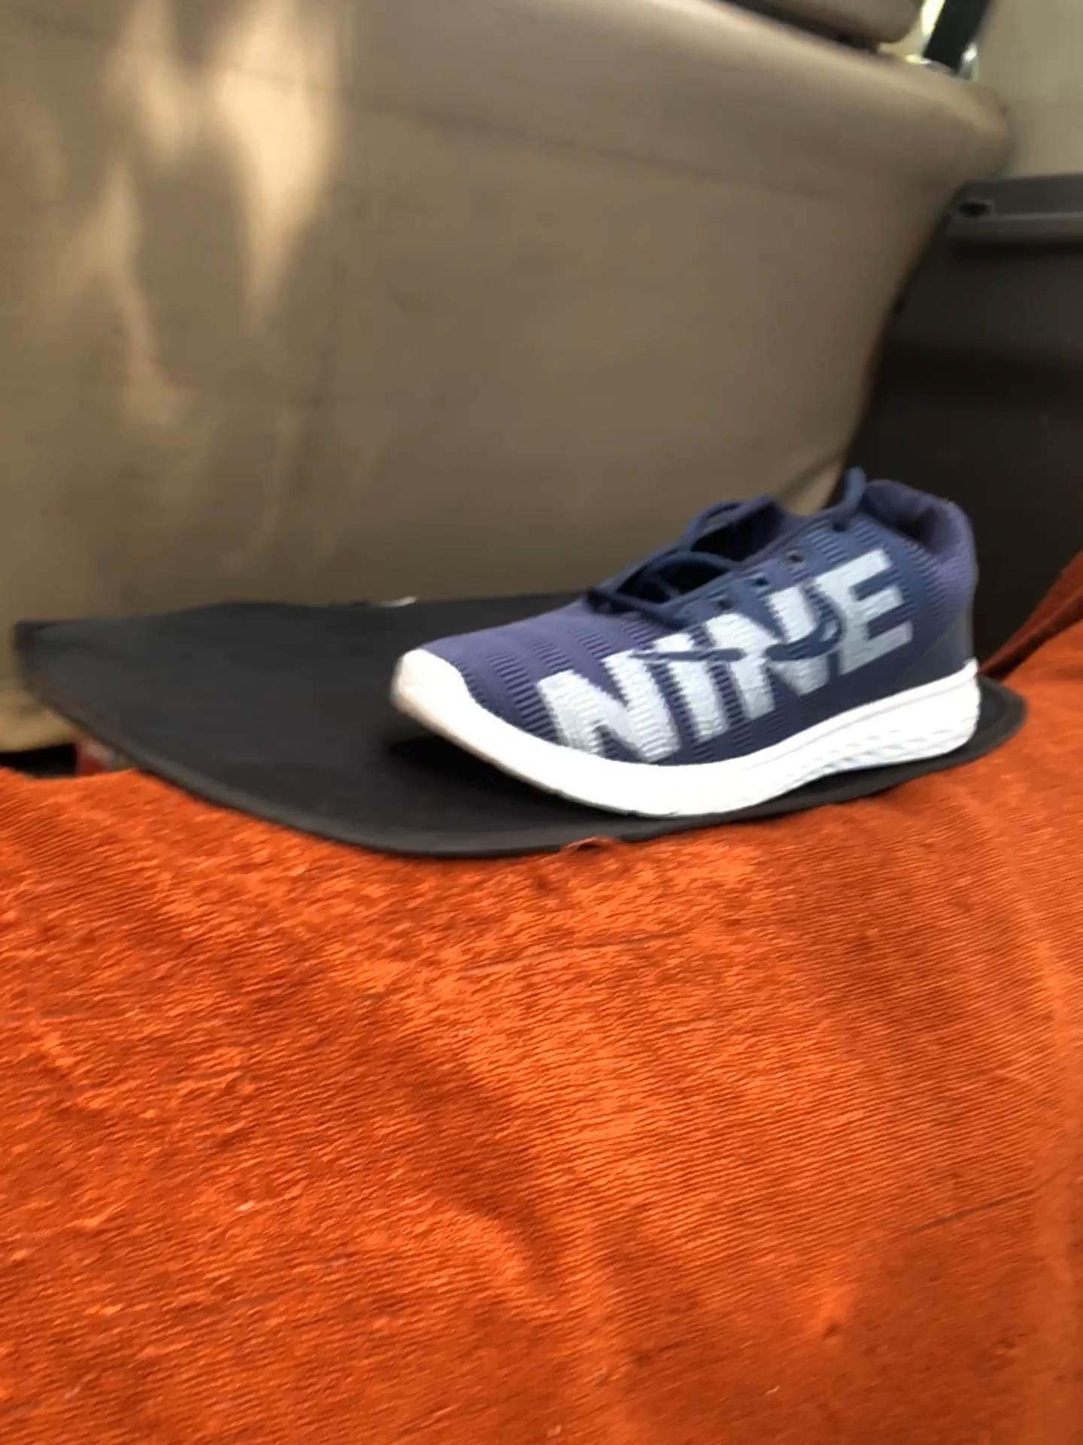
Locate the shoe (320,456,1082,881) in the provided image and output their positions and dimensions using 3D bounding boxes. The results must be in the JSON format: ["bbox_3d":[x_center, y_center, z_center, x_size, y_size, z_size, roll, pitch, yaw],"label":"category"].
[{"bbox_3d":[0.076,-0.040,0.464,0.291,0.100,0.130,-9,23,-31],"label":"shoe"}]
